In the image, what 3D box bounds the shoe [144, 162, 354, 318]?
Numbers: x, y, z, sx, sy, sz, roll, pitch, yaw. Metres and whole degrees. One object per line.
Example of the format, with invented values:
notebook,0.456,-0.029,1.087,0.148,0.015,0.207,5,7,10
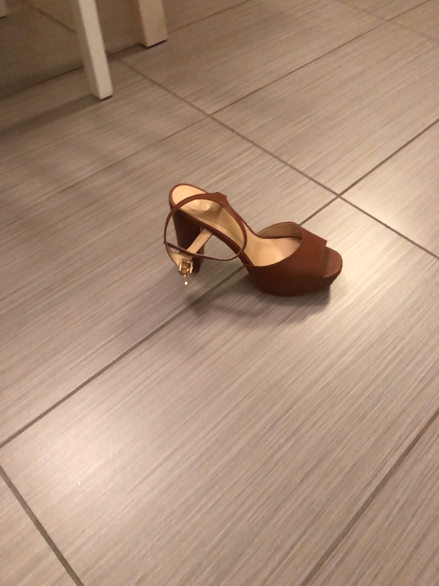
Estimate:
shoe,0.036,-0.069,0.624,0.240,0.090,0.111,16,53,4
